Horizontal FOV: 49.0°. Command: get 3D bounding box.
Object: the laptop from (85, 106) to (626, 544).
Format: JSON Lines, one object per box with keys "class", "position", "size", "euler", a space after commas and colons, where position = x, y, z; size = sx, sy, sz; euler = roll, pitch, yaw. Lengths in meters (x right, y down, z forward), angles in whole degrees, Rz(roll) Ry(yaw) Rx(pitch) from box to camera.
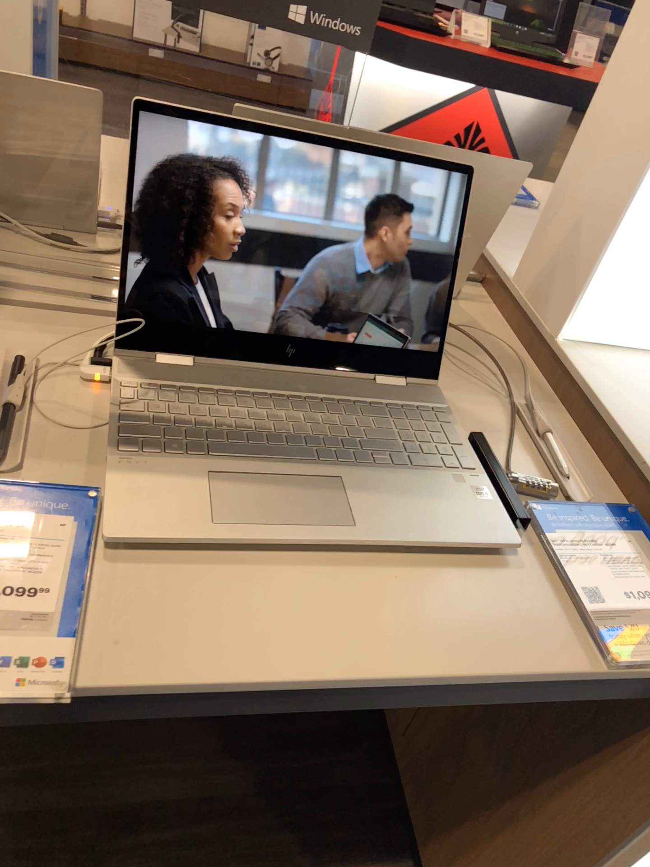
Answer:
{"class": "laptop", "position": [-0.014, -0.104, 0.652], "size": [0.359, 0.210, 0.355], "euler": [4, 38, -17]}
